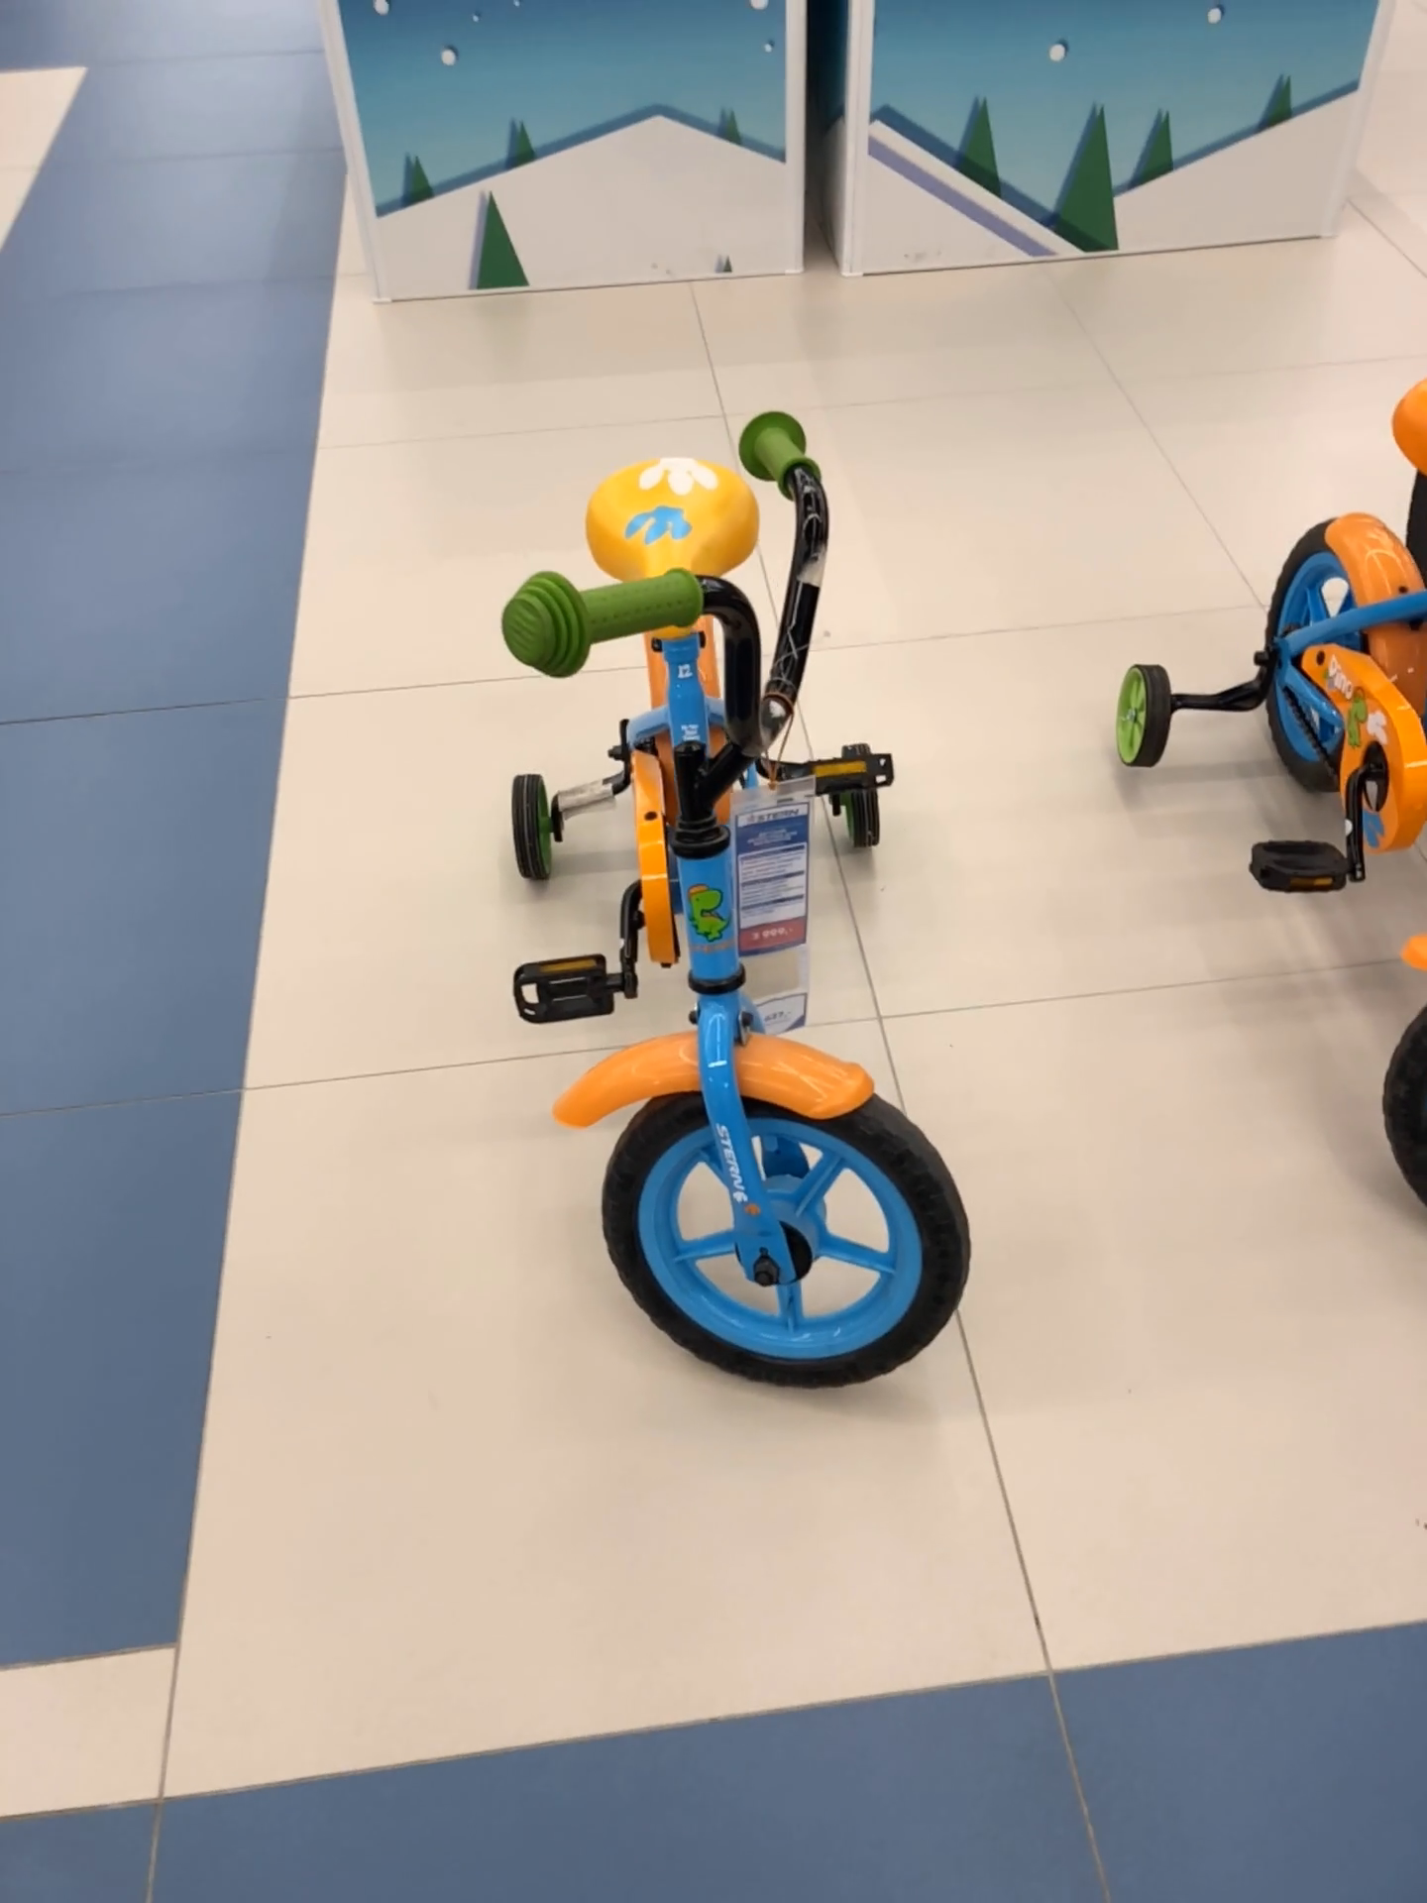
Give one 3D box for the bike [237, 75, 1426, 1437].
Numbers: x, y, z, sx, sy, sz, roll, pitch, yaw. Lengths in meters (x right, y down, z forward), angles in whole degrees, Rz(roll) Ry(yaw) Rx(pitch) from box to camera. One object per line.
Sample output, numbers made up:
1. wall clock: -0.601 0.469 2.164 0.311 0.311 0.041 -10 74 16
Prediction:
1. bike: 0.030 -0.174 1.222 0.564 0.681 0.753 -12 47 -10
